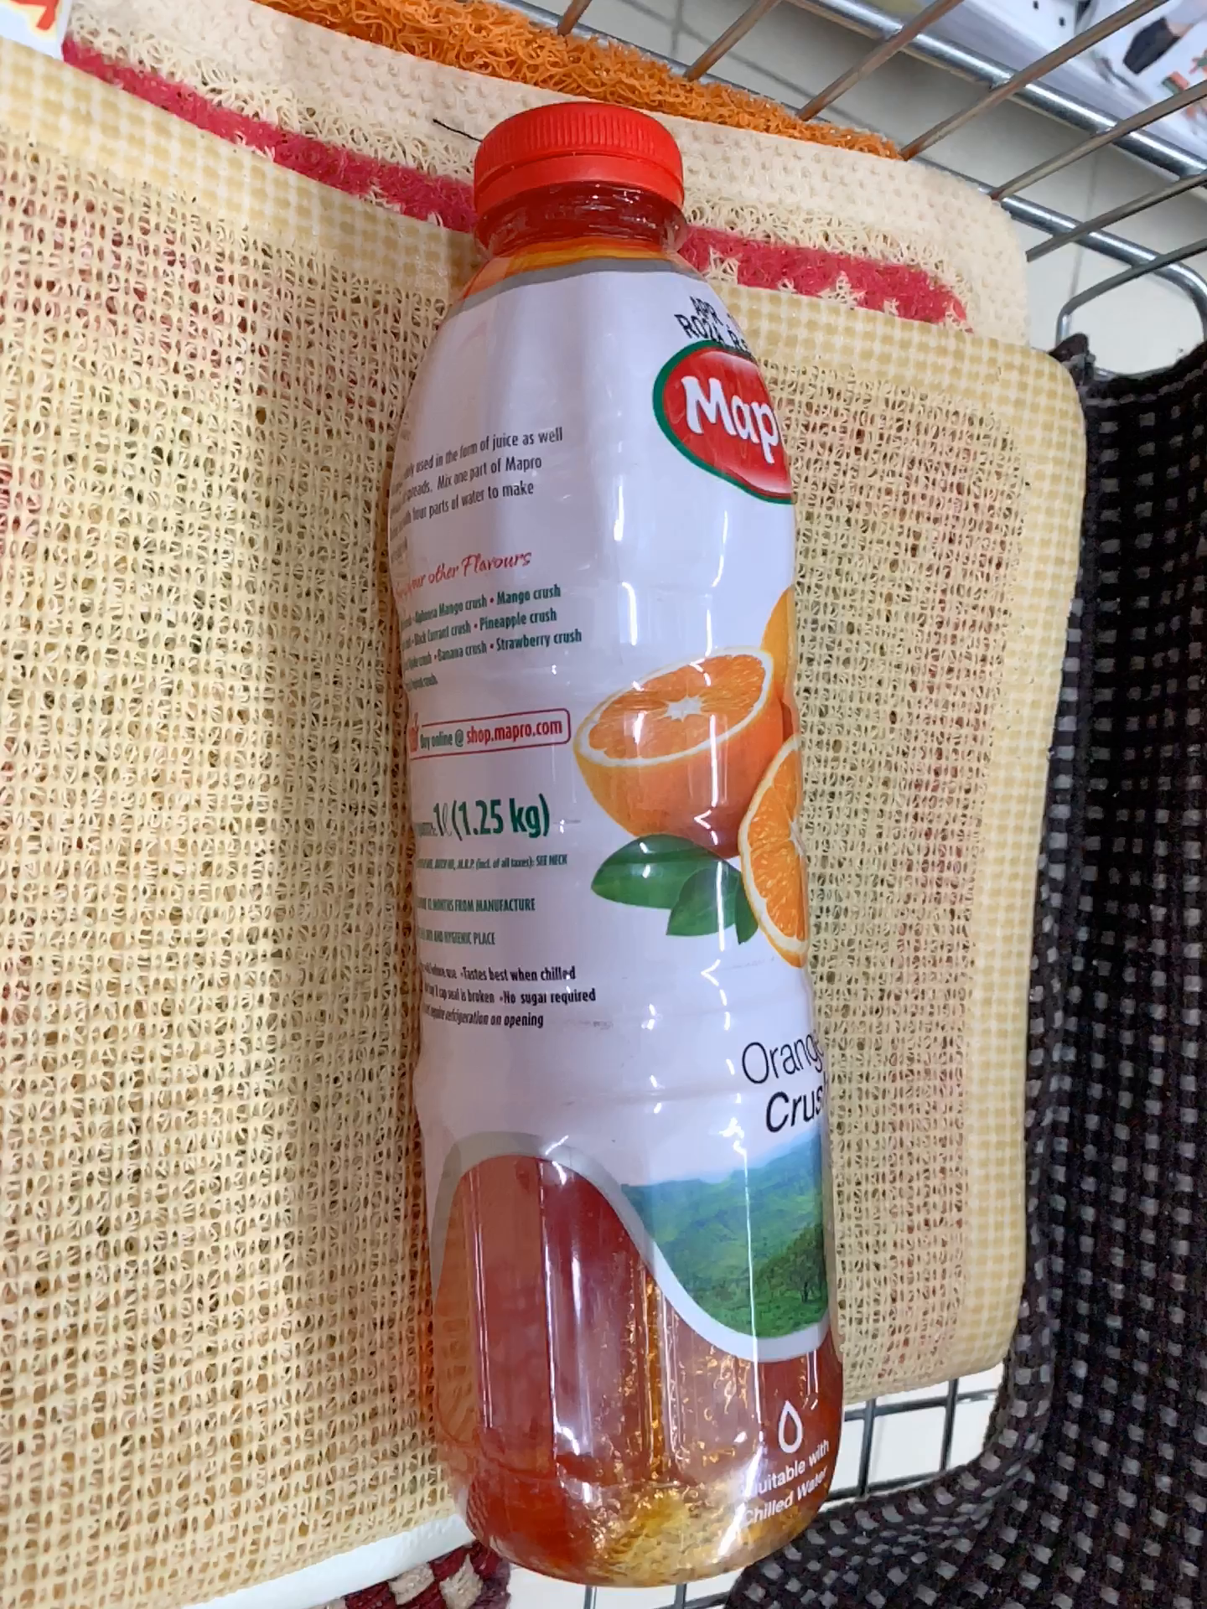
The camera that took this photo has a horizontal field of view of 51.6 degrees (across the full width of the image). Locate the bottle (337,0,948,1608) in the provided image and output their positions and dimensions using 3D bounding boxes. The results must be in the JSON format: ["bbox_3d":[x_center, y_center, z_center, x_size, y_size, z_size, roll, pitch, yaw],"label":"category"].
[{"bbox_3d":[0.010,-0.002,0.214,0.080,0.070,0.240,-1,91,-53],"label":"bottle"}]
